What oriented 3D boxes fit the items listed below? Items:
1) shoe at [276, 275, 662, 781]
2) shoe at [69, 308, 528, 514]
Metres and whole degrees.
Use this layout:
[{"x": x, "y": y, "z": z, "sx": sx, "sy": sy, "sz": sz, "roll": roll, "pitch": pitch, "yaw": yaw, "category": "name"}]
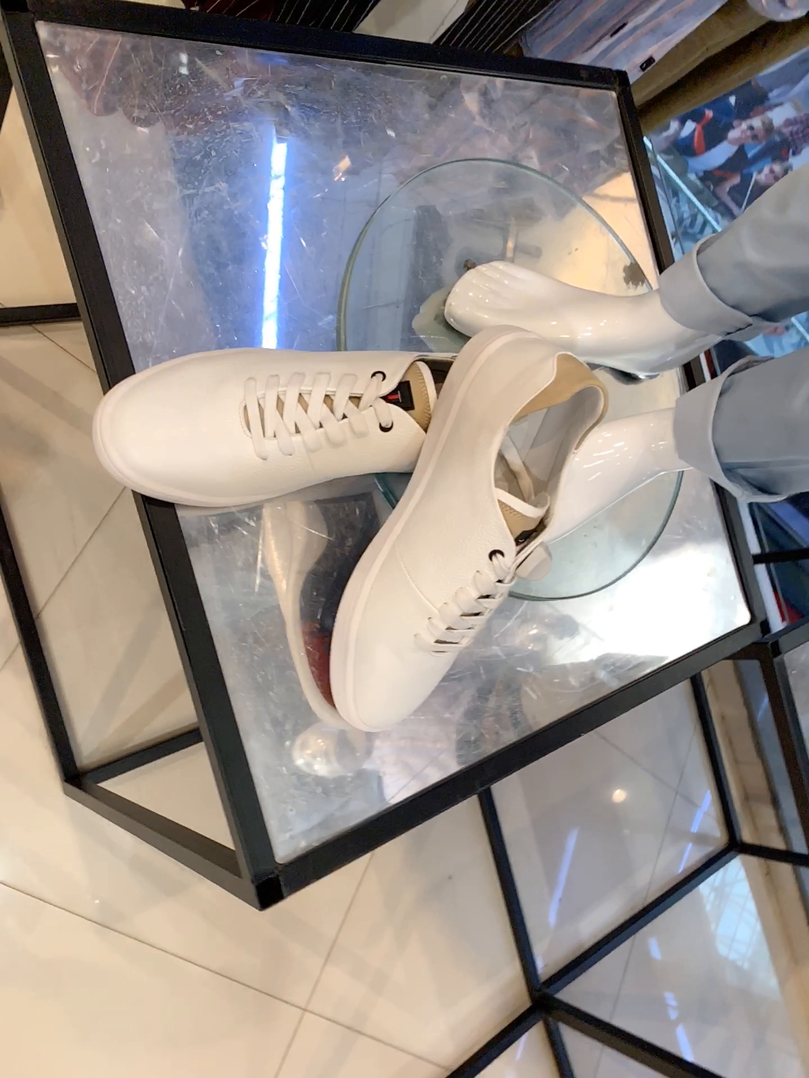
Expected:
[{"x": 0.044, "y": -0.005, "z": 0.531, "sx": 0.100, "sy": 0.080, "sz": 0.300, "roll": 28, "pitch": 89, "yaw": -45, "category": "shoe"}, {"x": -0.063, "y": -0.088, "z": 0.574, "sx": 0.291, "sy": 0.100, "sz": 0.100, "roll": -8, "pitch": 87, "yaw": -34, "category": "shoe"}]
